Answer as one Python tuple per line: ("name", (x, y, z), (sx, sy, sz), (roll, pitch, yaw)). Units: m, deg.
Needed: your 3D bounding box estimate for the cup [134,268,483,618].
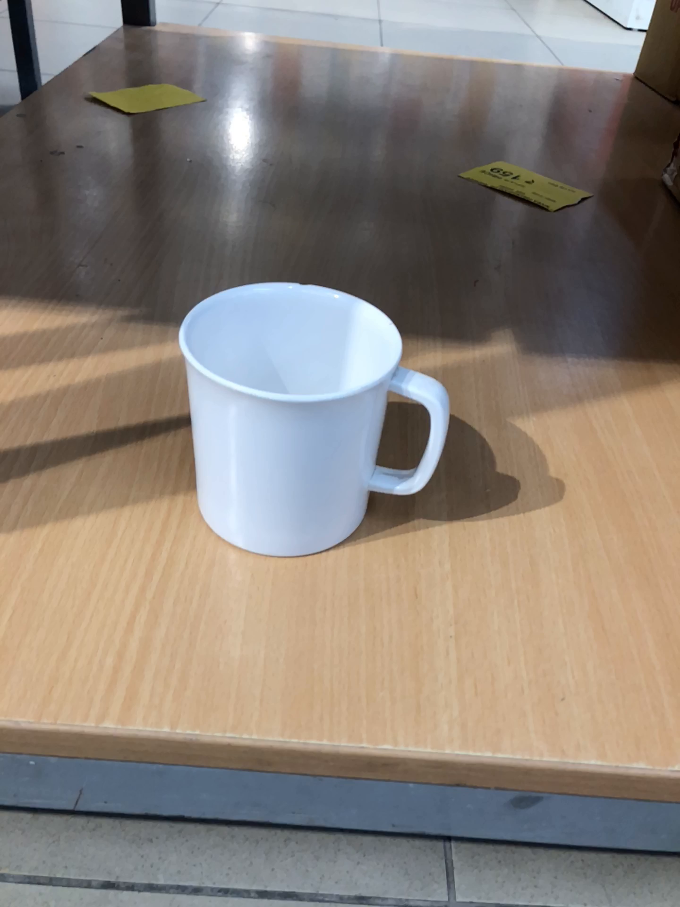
("cup", (-0.010, -0.007, 0.307), (0.110, 0.089, 0.081), (14, 39, 10))
